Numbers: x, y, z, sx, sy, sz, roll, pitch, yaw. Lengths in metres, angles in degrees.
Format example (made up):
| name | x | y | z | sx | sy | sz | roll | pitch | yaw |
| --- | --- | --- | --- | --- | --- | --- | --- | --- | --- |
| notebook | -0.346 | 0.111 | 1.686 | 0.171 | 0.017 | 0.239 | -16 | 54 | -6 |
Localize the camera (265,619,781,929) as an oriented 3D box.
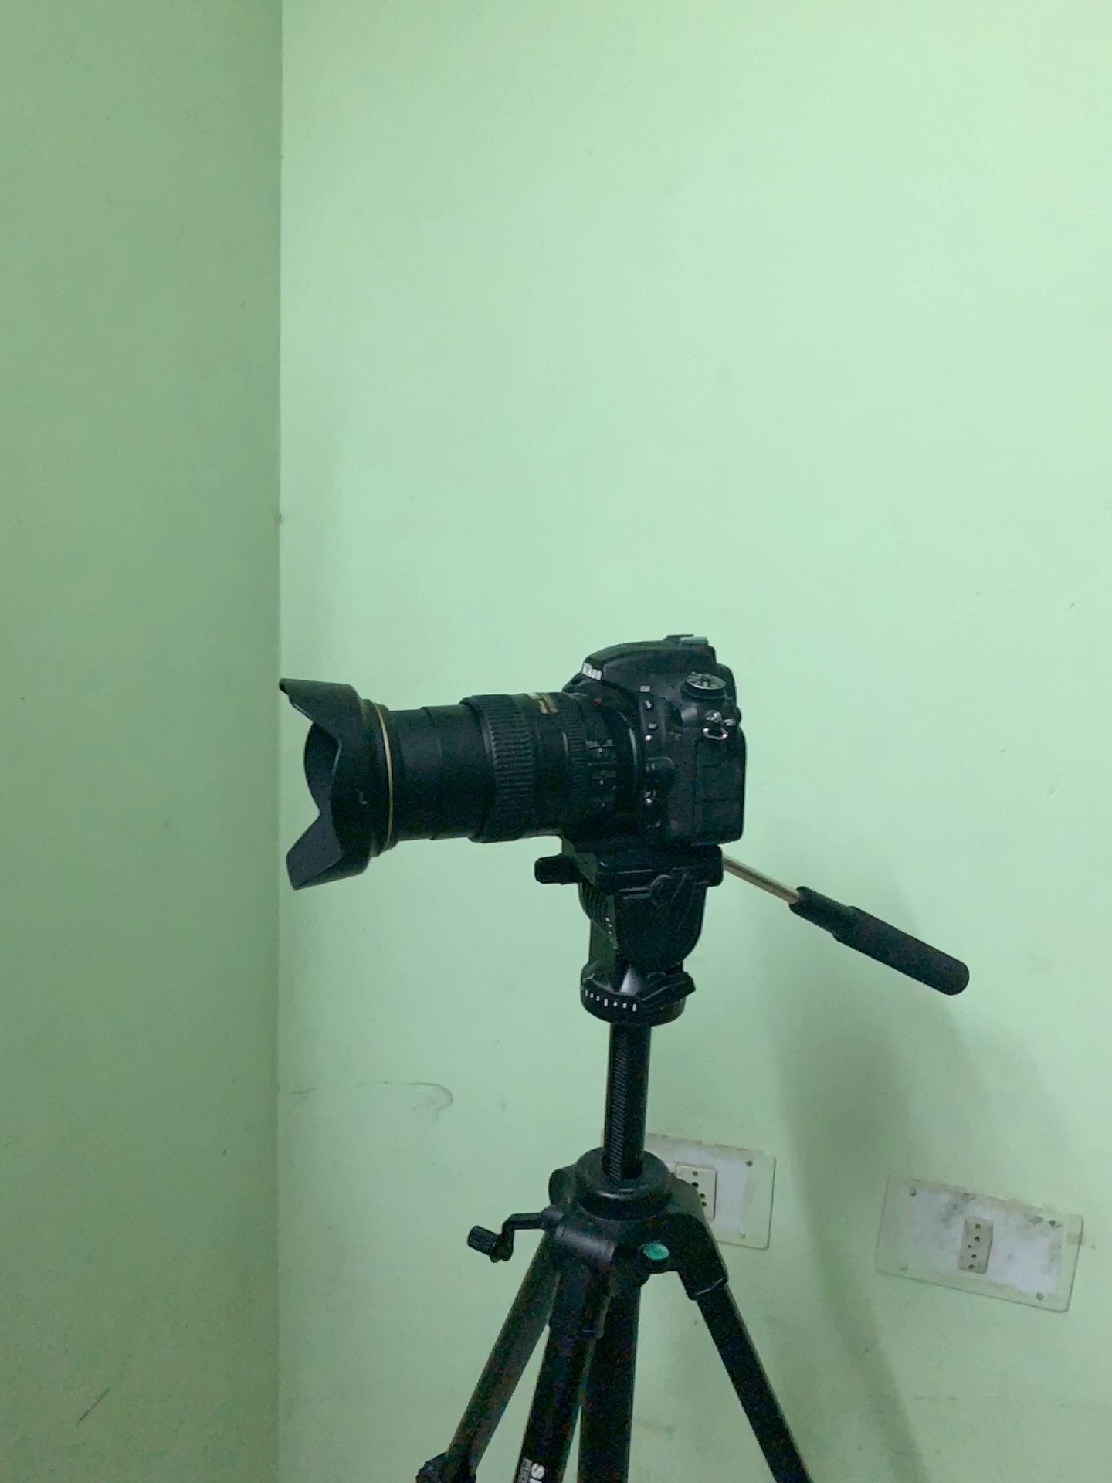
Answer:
| name | x | y | z | sx | sy | sz | roll | pitch | yaw |
| --- | --- | --- | --- | --- | --- | --- | --- | --- | --- |
| camera | -0.029 | 0.005 | 0.648 | 0.250 | 0.132 | 0.164 | -2 | 12 | -20 |
